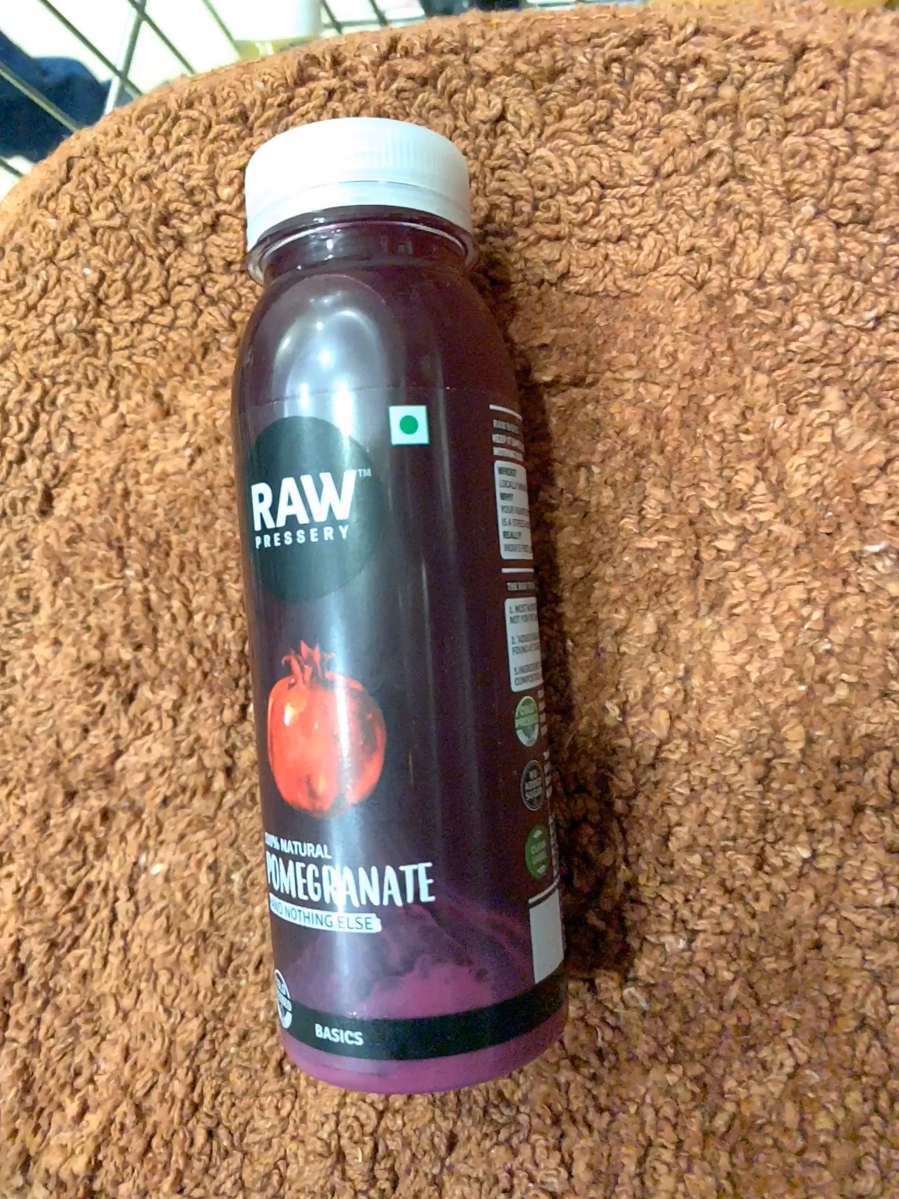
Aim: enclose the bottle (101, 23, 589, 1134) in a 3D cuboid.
[{"bbox_3d":[-0.011,0.000,0.145,0.050,0.040,0.140,-2,97,19],"label":"bottle"}]
